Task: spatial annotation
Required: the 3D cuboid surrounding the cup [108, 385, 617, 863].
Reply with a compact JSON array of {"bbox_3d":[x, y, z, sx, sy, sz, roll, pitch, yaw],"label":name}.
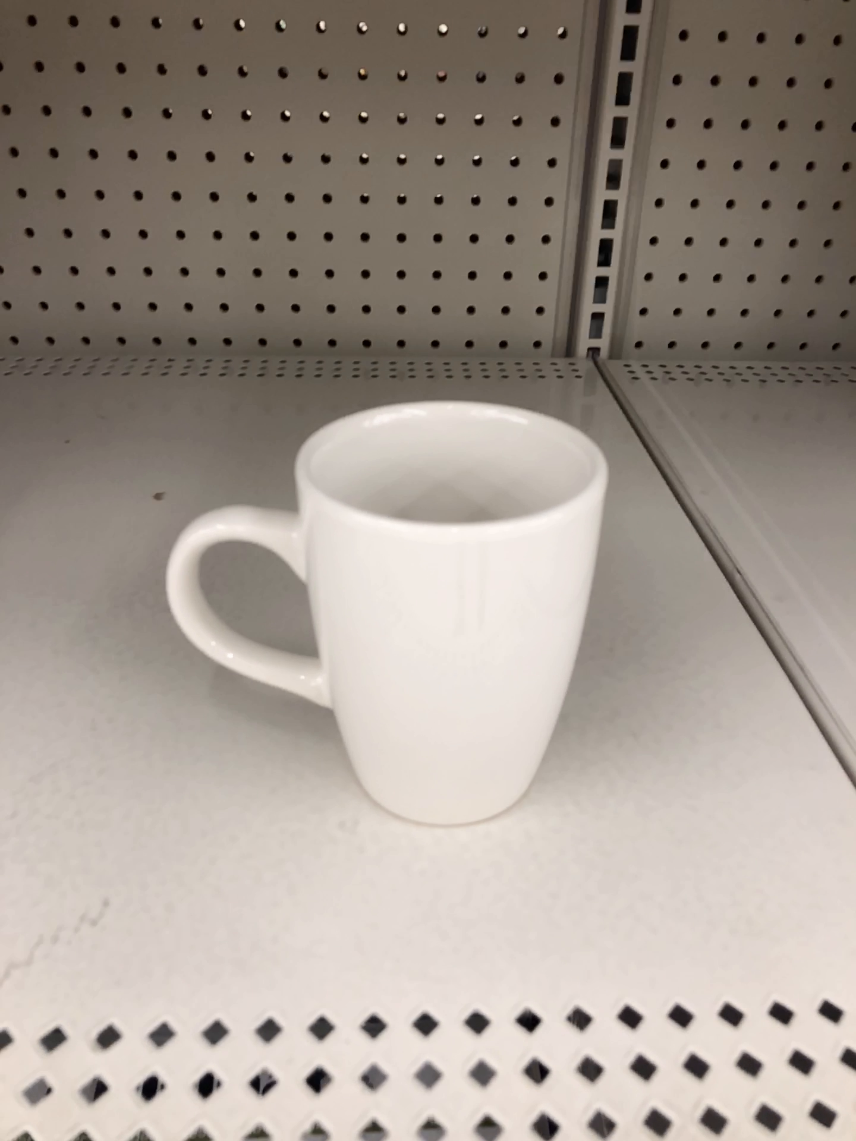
[{"bbox_3d":[-0.012,0.012,0.287,0.125,0.105,0.081,6,31,7],"label":"cup"}]
